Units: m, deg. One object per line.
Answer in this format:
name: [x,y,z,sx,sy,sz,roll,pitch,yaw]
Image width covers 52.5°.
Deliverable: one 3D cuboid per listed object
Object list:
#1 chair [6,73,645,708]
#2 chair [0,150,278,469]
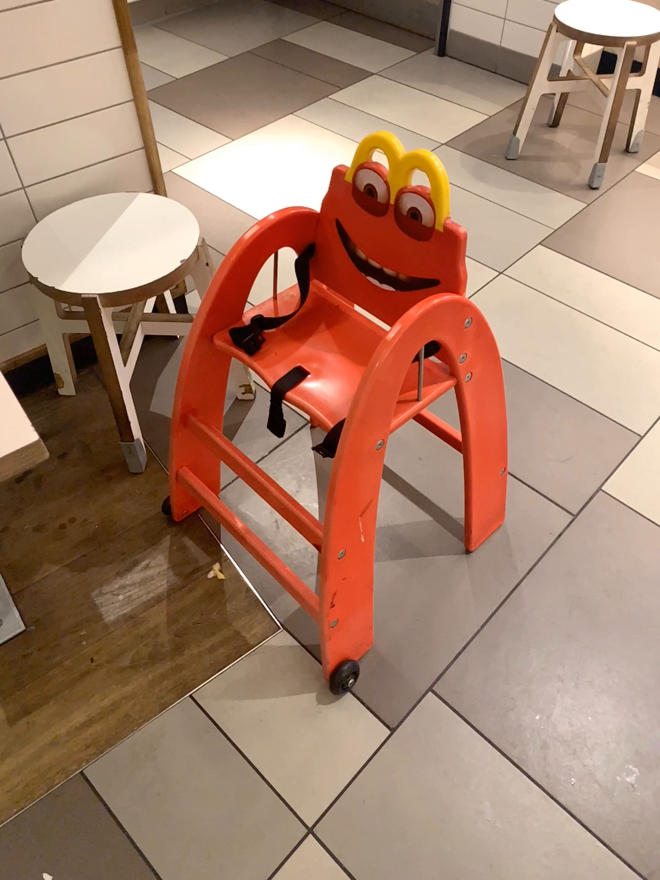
chair: [-0.002,-0.091,1.108,0.583,0.654,0.583,36,59,27]
chair: [-0.369,-0.270,1.399,0.322,0.446,0.372,36,59,27]
